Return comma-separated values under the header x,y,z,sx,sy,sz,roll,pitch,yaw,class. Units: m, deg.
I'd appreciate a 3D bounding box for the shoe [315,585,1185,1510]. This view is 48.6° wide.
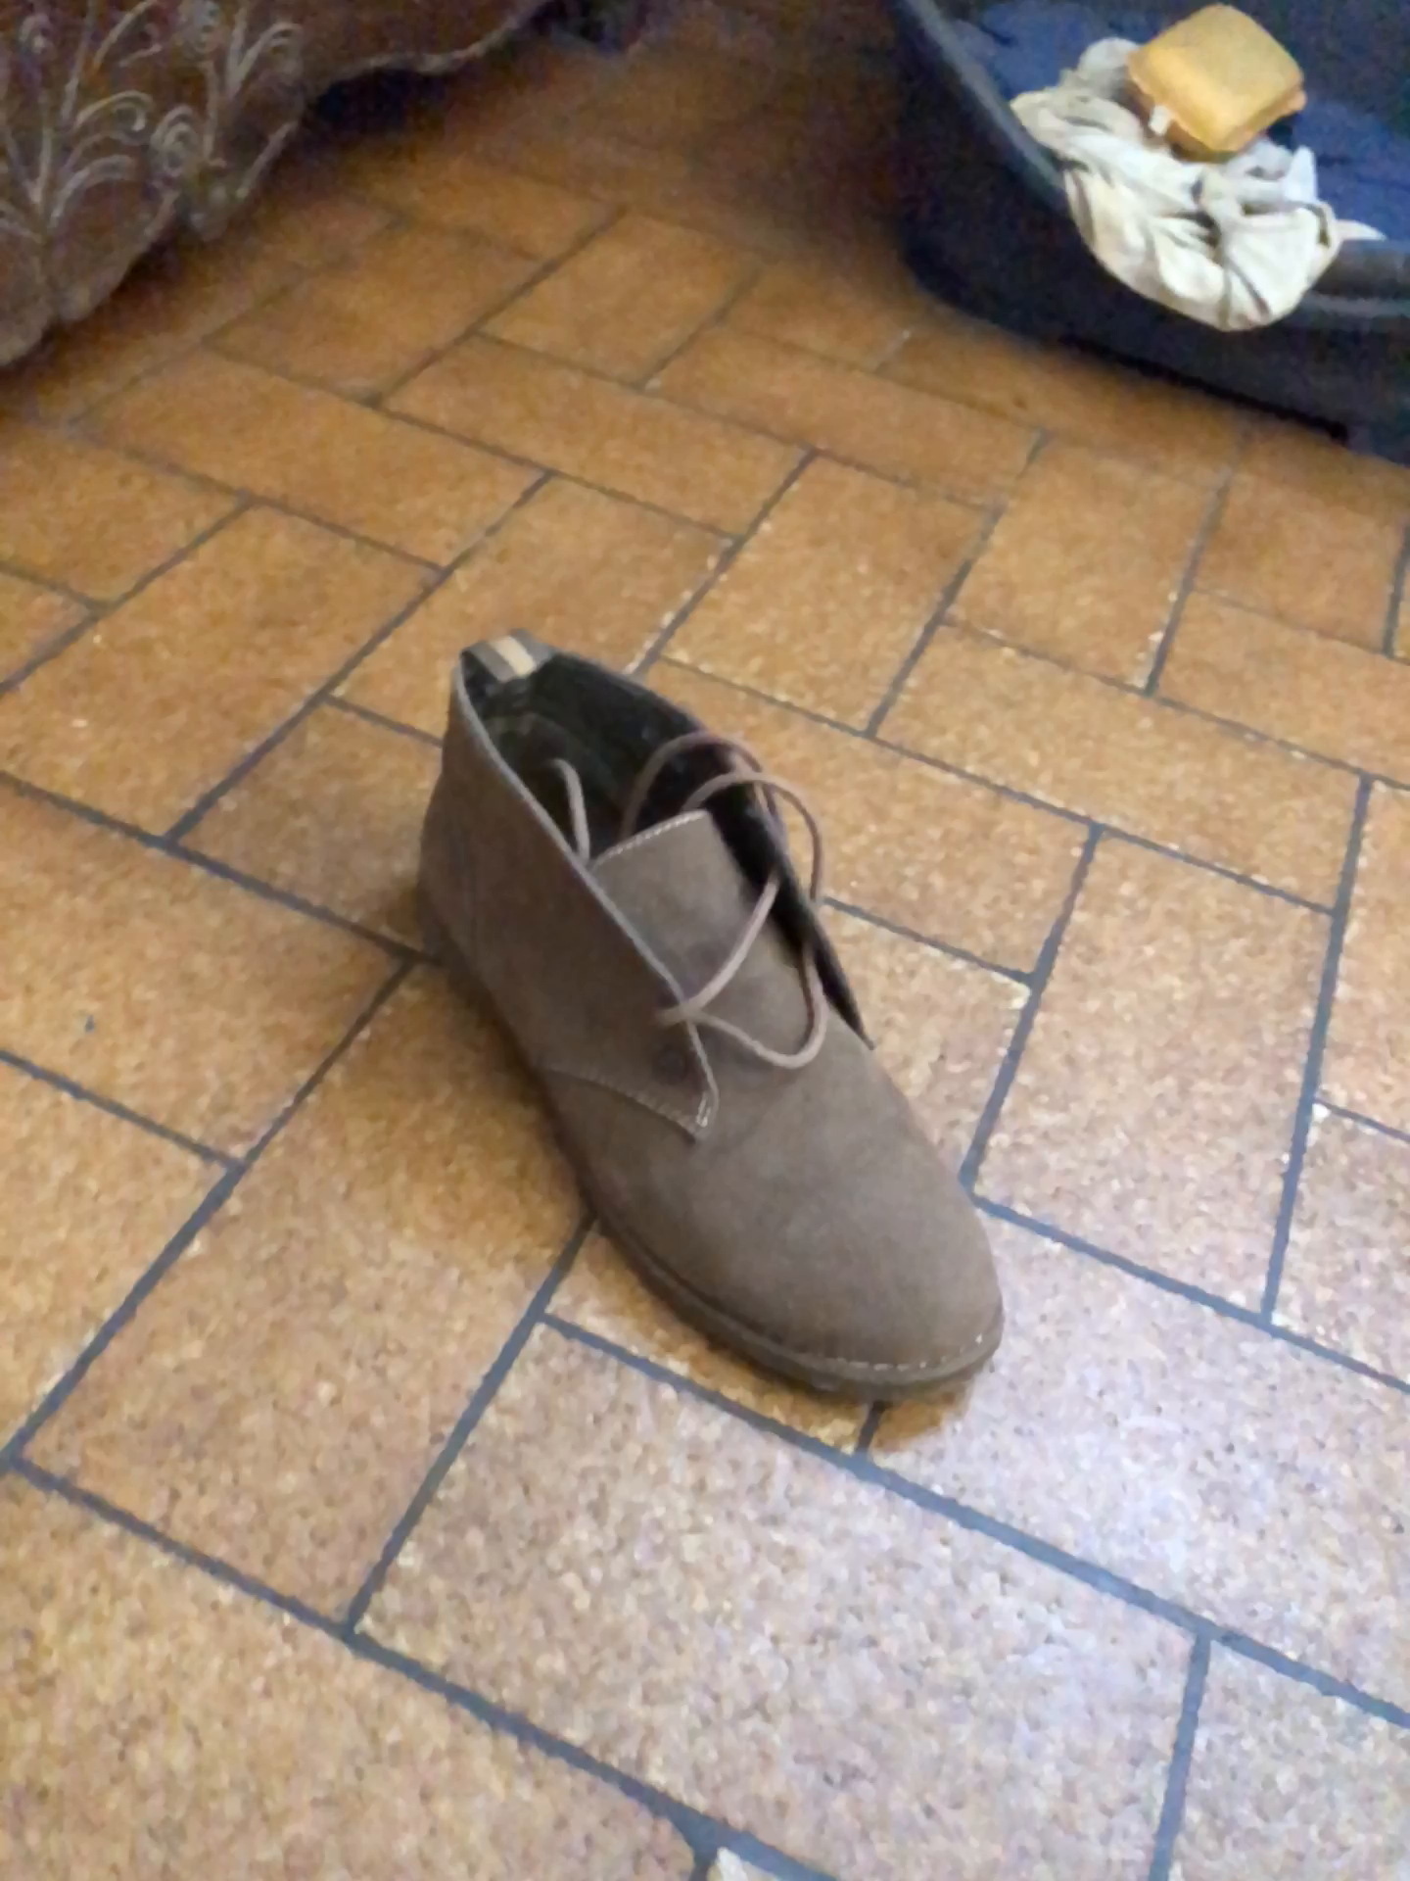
x,y,z,sx,sy,sz,roll,pitch,yaw,class
-0.004,0.017,0.456,0.101,0.099,0.250,-26,57,-31,shoe
